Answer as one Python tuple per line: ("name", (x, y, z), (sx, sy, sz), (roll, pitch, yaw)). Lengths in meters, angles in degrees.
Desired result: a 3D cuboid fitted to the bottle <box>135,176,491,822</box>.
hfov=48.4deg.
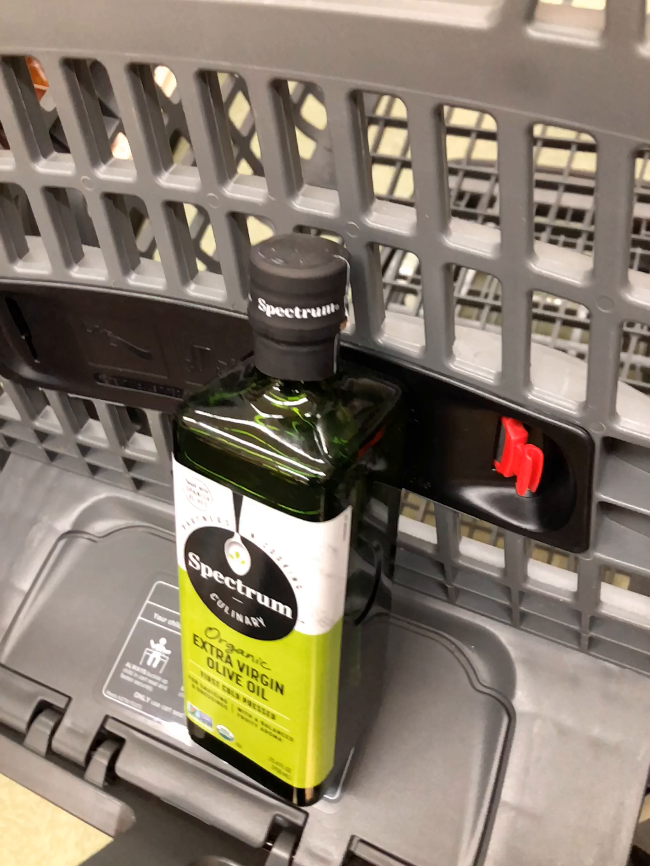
("bottle", (-0.008, 0.040, 0.292), (0.080, 0.250, 0.076), (3, 35, -2))
